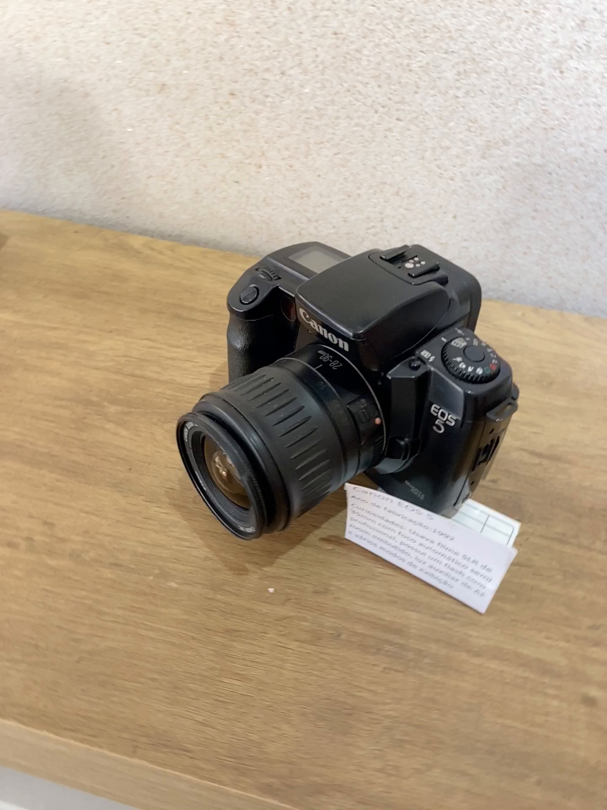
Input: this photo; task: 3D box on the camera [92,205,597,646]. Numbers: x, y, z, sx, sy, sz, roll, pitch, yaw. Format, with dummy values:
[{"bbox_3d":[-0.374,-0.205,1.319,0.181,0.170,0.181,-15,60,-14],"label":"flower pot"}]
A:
[{"bbox_3d":[0.021,-0.010,0.325,0.181,0.080,0.160,-34,54,-31],"label":"camera"}]
